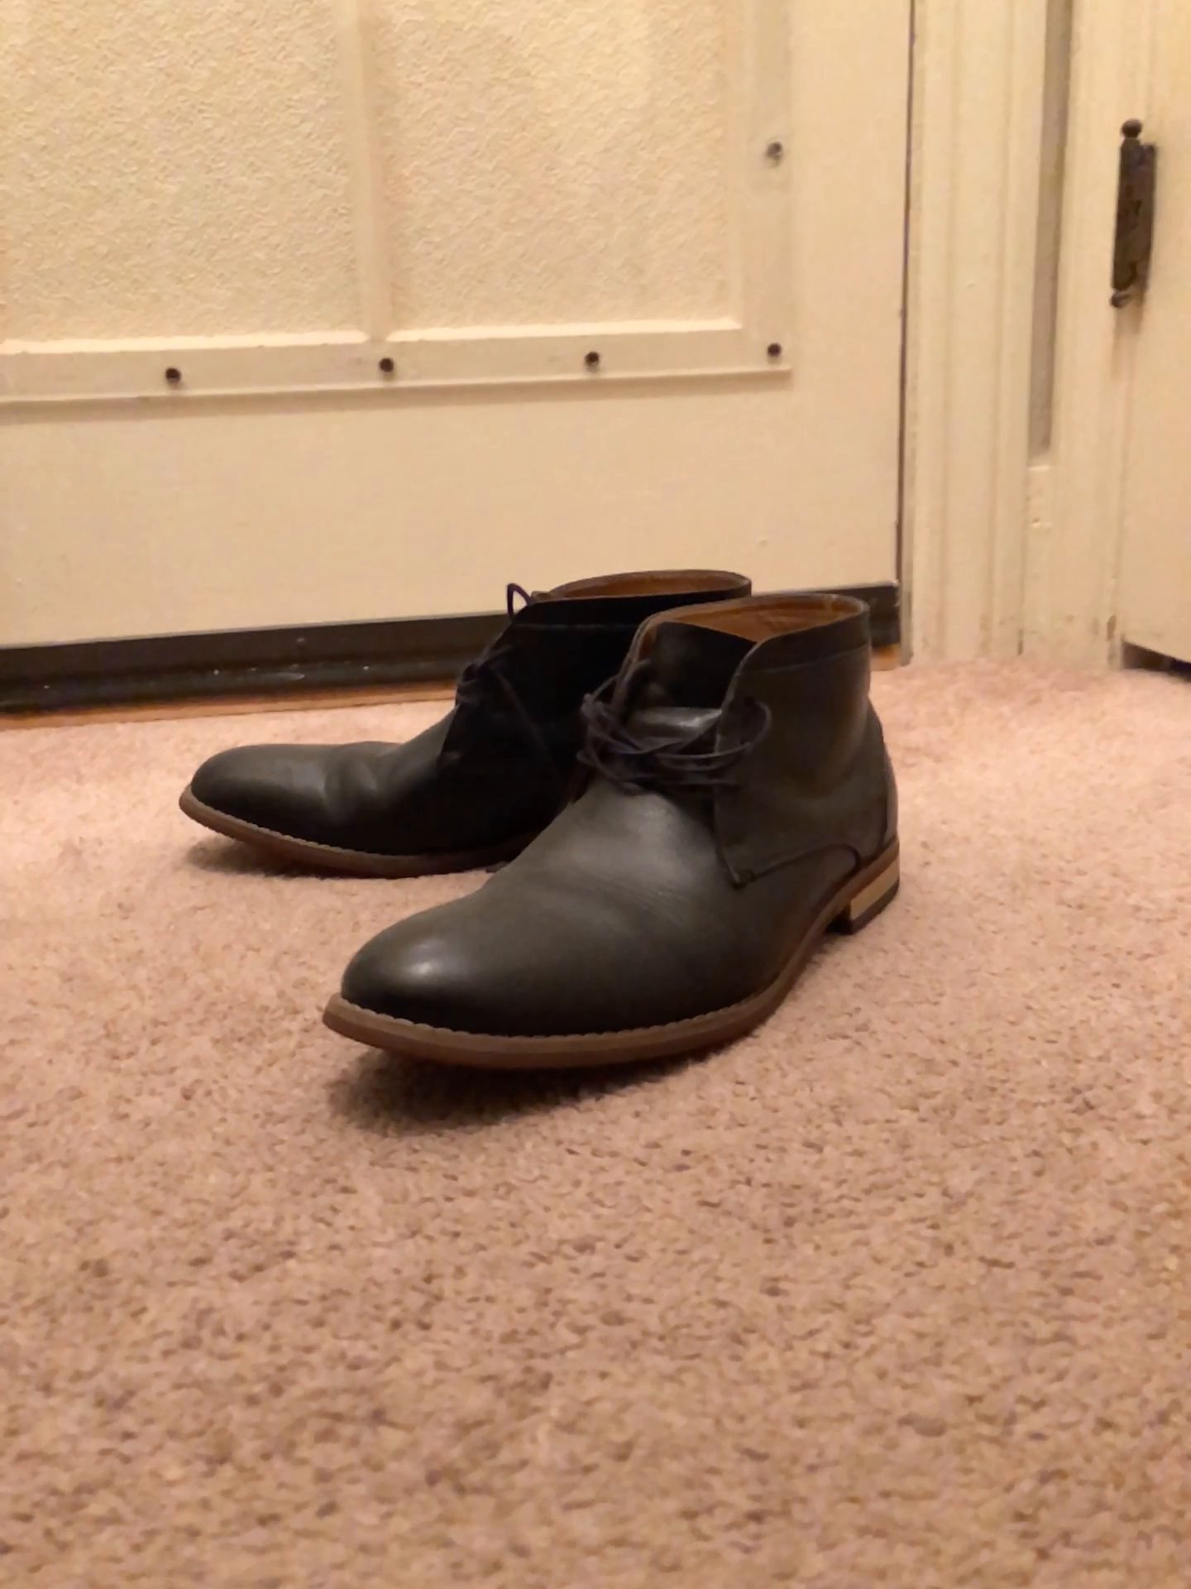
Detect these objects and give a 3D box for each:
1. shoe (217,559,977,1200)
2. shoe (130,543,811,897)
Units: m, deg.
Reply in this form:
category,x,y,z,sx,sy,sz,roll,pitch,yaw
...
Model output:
category,x,y,z,sx,sy,sz,roll,pitch,yaw
shoe,0.027,-0.001,0.487,0.116,0.136,0.303,9,20,35
shoe,-0.056,-0.044,0.656,0.302,0.136,0.116,-4,16,-5
